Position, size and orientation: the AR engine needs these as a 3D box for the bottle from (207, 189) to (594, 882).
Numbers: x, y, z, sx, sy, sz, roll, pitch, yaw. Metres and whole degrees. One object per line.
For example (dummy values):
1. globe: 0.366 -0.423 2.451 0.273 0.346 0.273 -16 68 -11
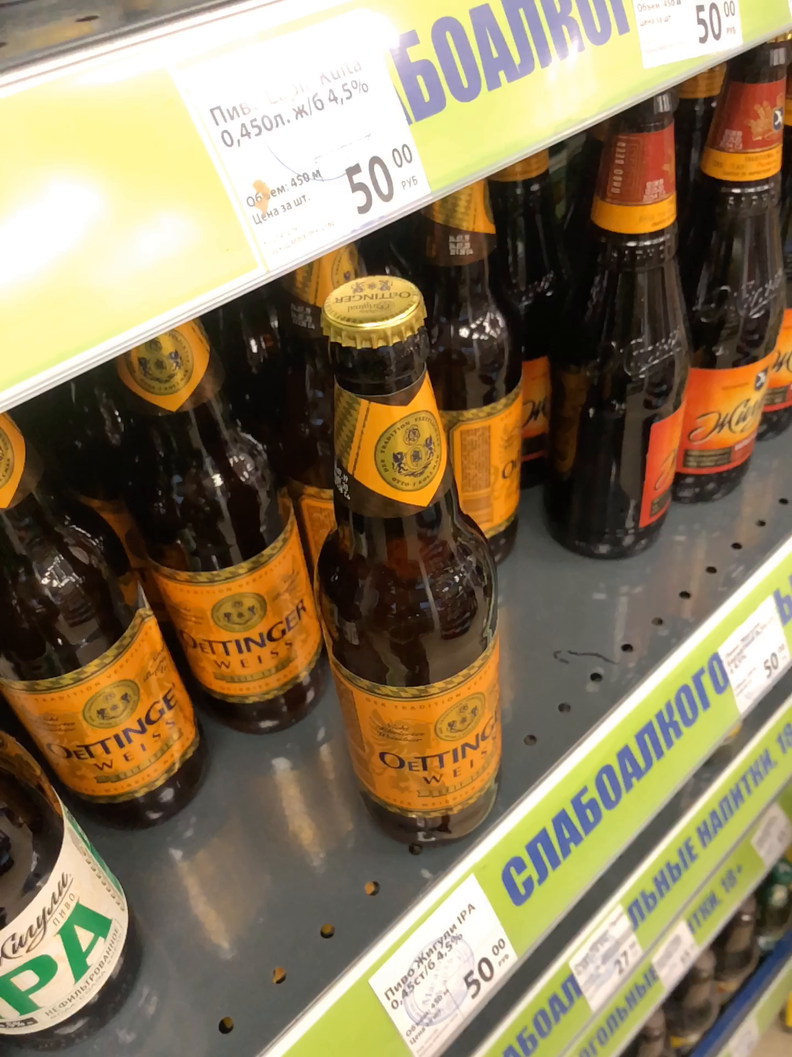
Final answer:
1. bottle: 0.006 0.022 0.306 0.072 0.242 0.070 -3 45 3
